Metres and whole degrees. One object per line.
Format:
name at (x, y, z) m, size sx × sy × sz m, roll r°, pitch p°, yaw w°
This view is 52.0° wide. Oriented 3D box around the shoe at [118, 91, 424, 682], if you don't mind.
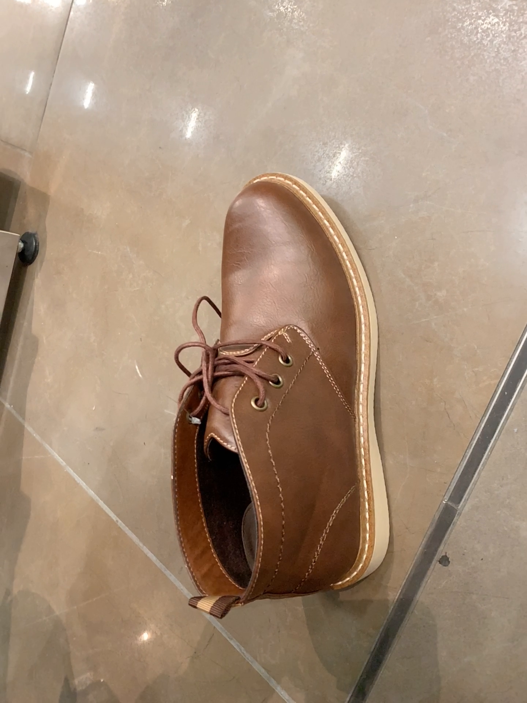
shoe at (0.002, 0.017, 0.345) m, size 0.107 × 0.120 × 0.295 m, roll -15°, pitch 79°, yaw 37°
